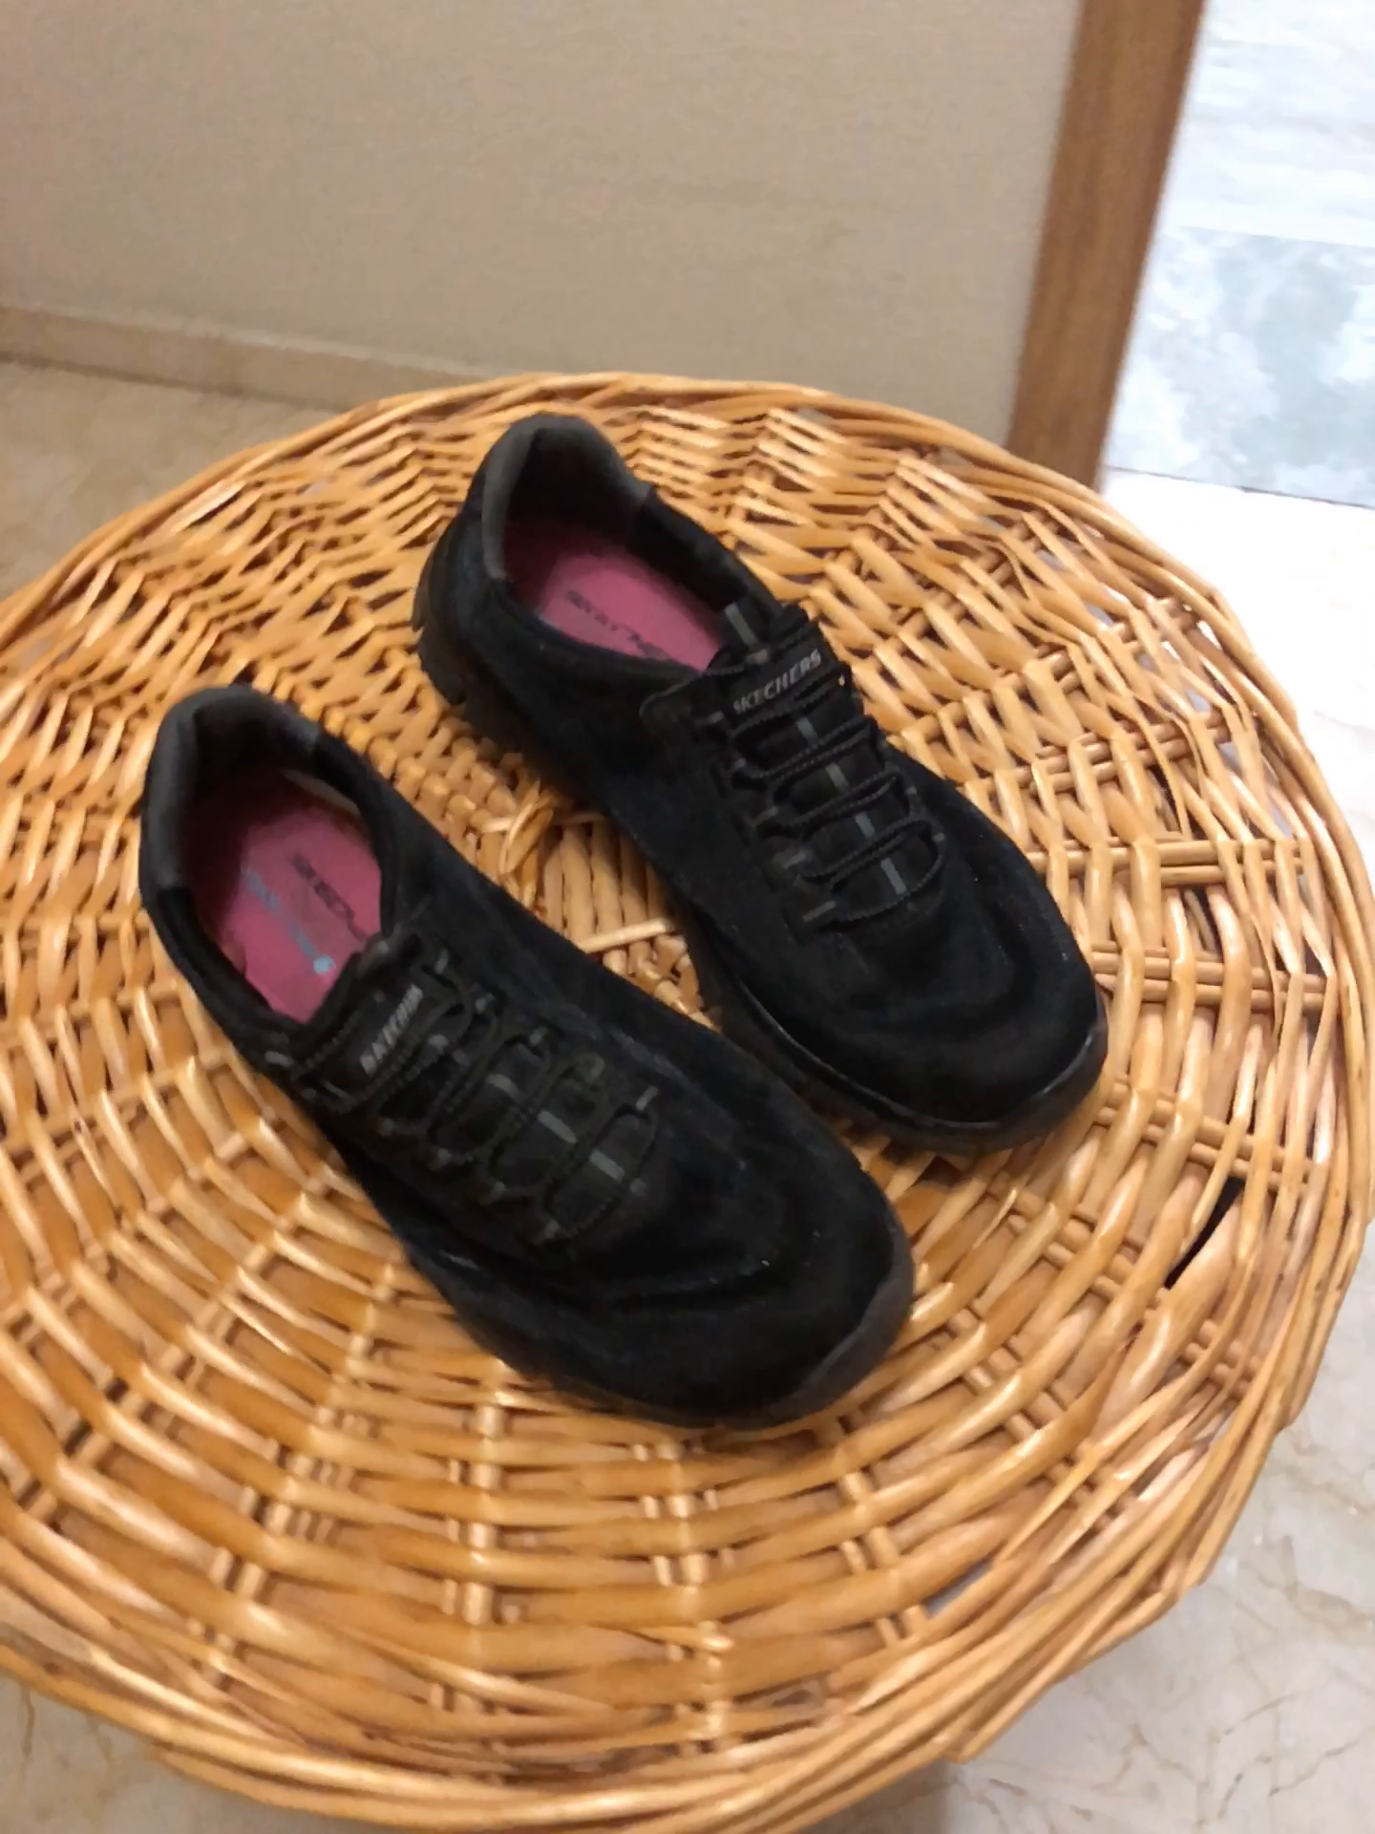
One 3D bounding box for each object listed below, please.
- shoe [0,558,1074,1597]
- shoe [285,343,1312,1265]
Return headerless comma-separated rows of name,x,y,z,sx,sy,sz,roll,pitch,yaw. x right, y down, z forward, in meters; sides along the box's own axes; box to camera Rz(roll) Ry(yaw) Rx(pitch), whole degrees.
shoe,-0.053,0.026,0.389,0.265,0.079,0.118,34,63,24
shoe,0.018,-0.047,0.431,0.118,0.079,0.265,-37,61,-21
